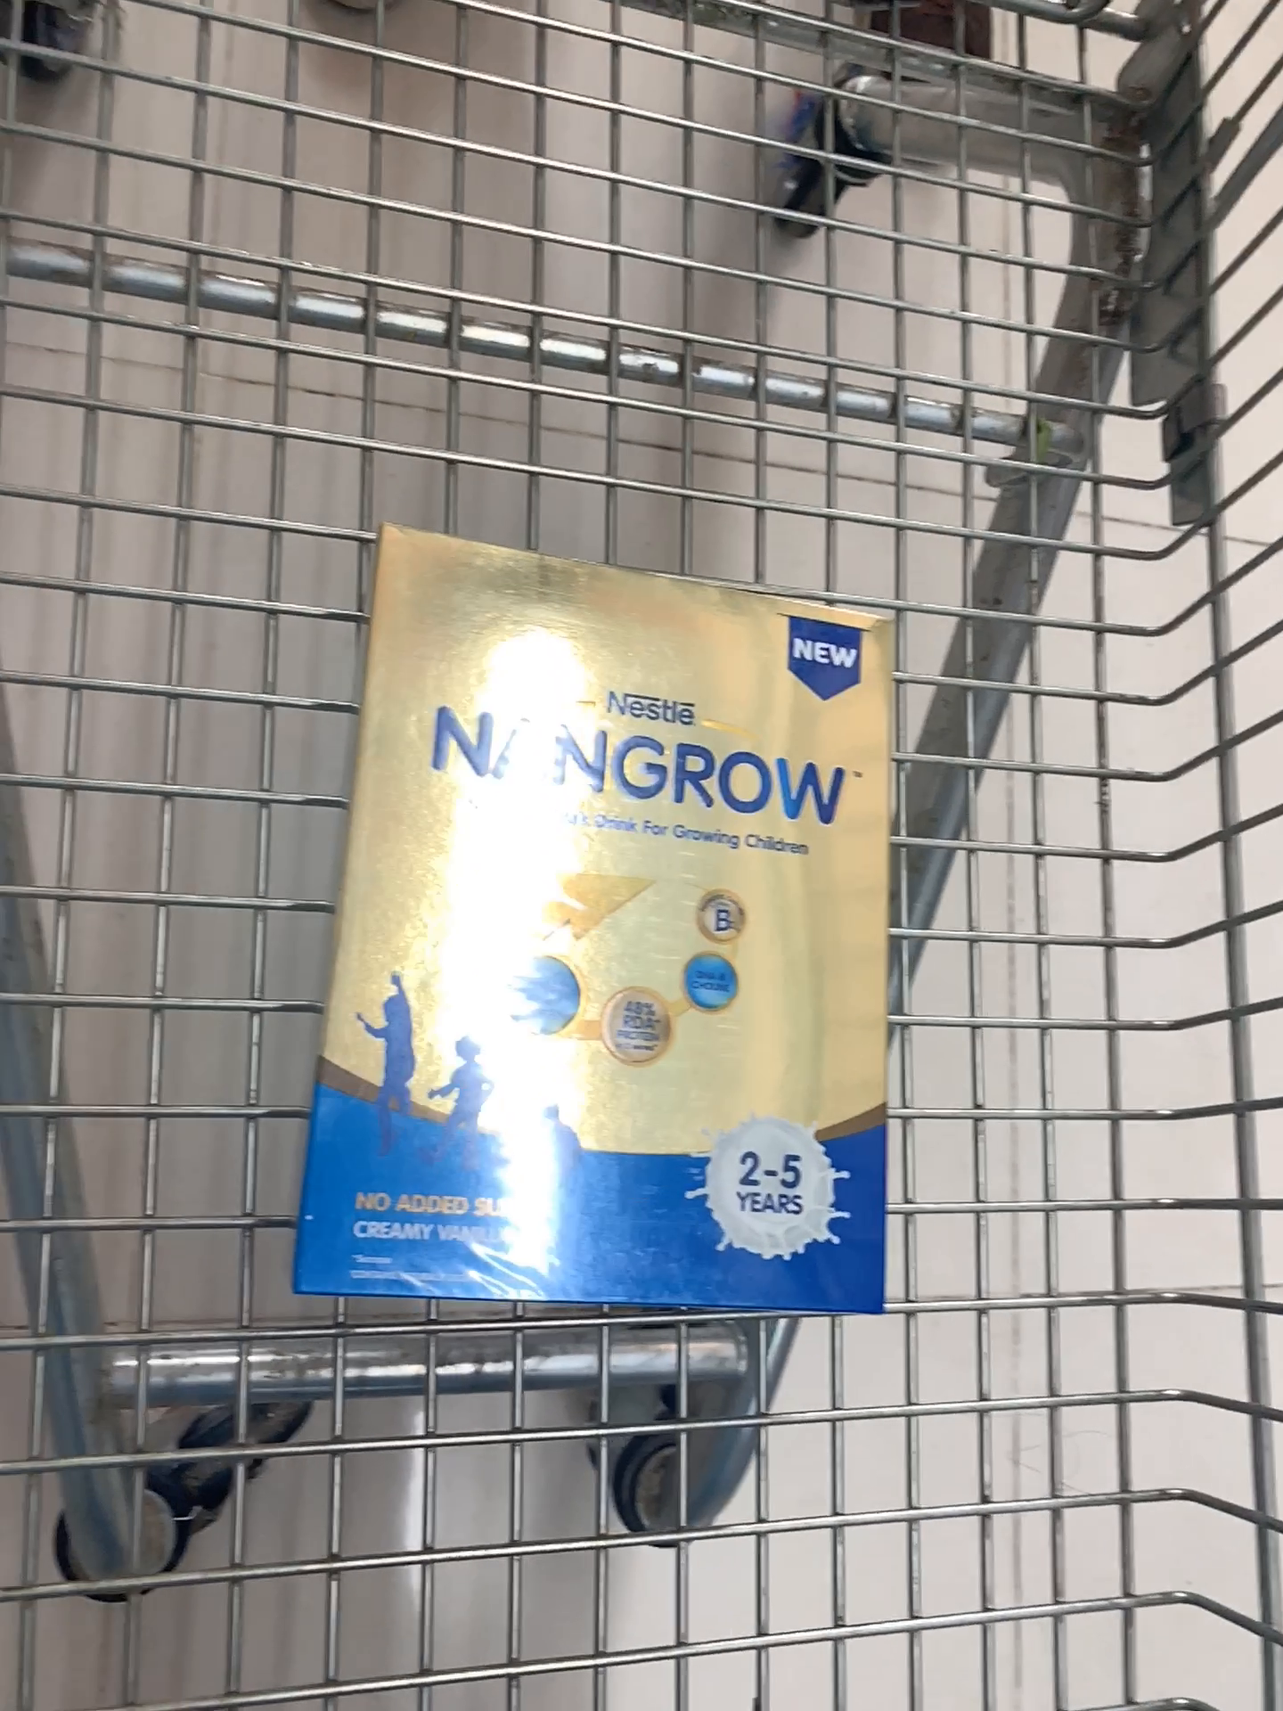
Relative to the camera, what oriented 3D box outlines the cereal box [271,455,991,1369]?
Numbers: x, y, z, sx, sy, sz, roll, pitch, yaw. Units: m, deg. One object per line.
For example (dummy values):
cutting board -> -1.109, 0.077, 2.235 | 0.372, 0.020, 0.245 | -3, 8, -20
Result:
cereal box -> -0.001, 0.018, 0.325 | 0.150, 0.060, 0.190 | 8, 81, -15
